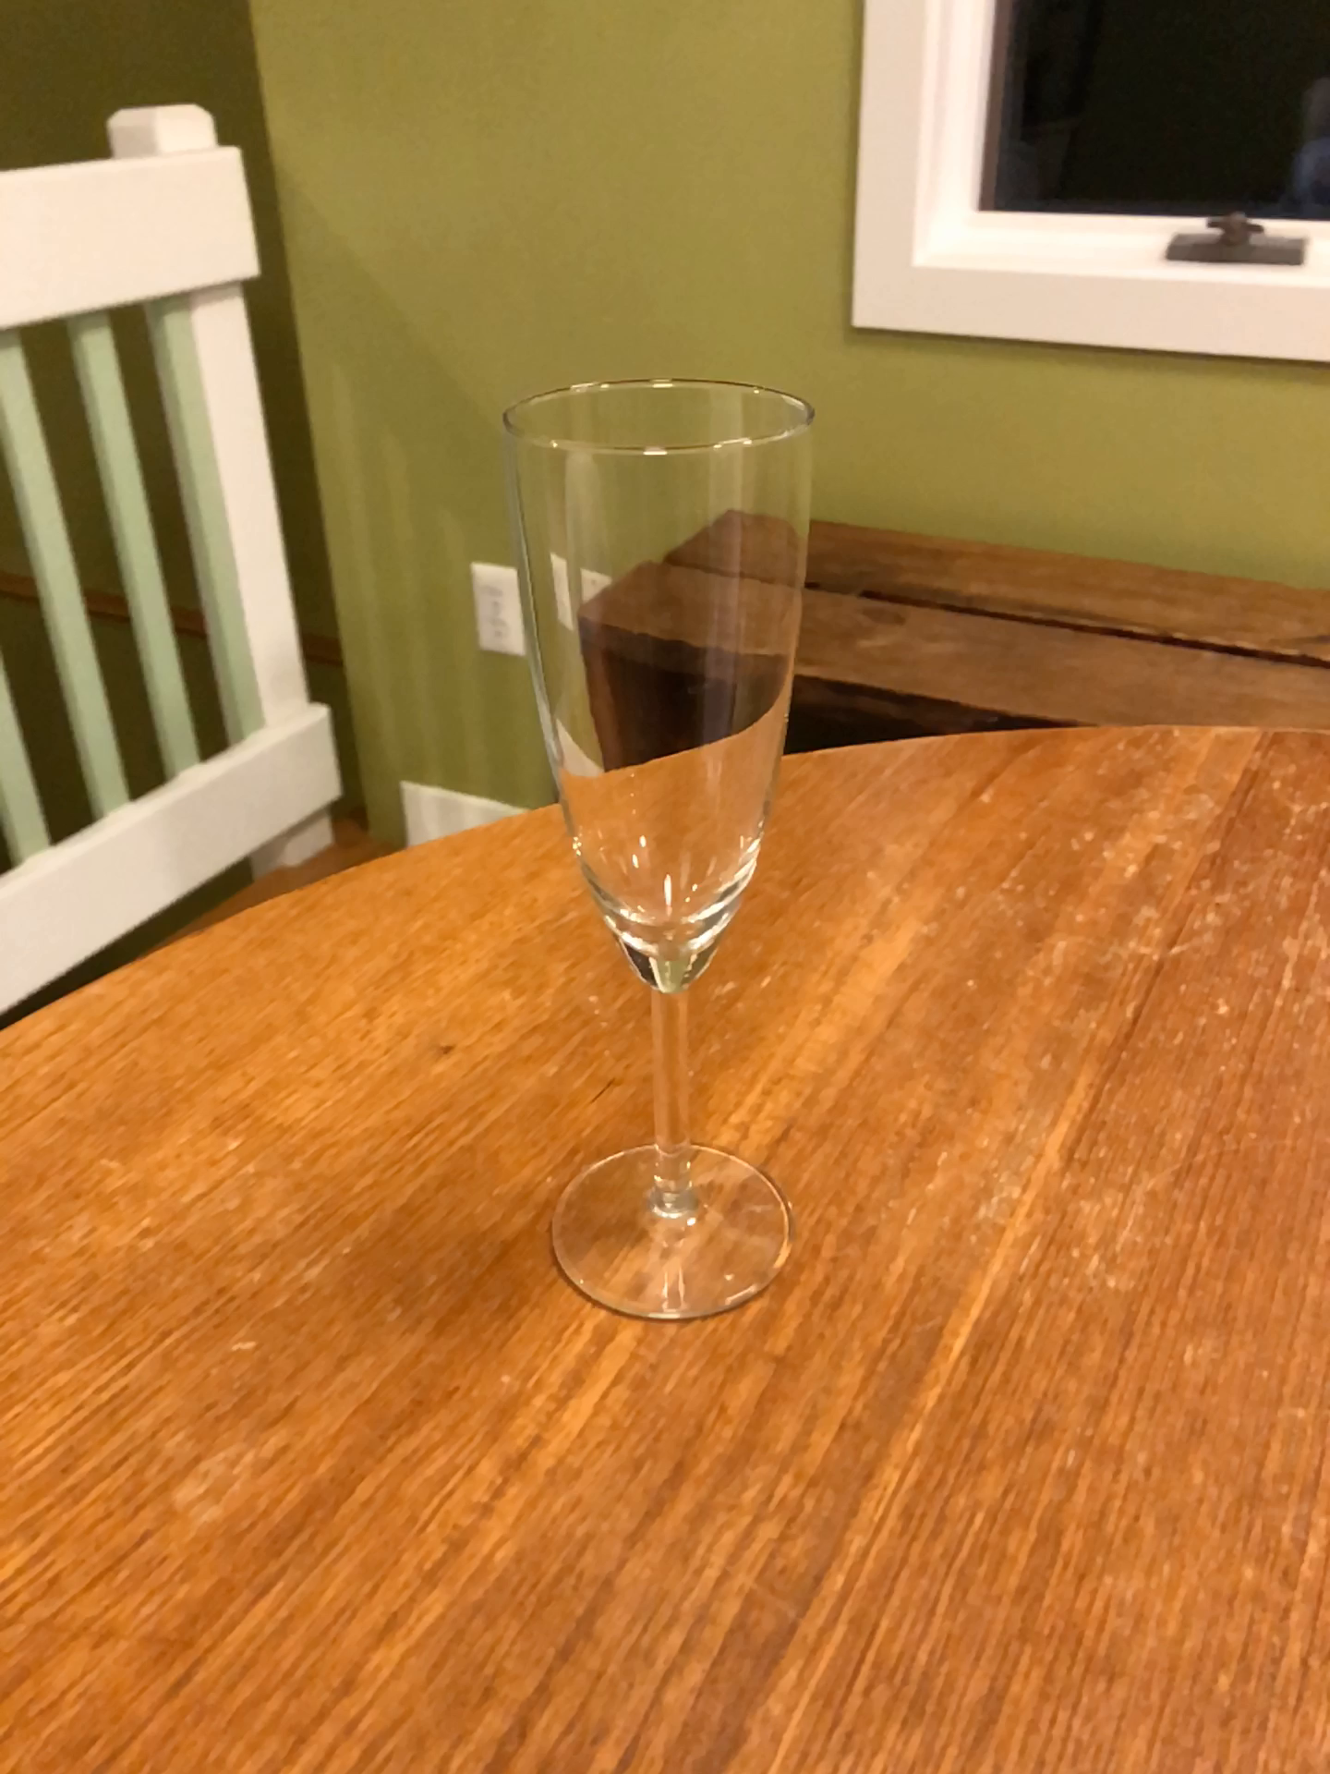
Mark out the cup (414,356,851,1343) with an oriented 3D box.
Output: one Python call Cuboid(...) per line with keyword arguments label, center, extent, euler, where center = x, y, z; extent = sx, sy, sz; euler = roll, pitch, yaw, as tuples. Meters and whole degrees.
Cuboid(label="cup", center=(-0.001, -0.004, 0.345), extent=(0.066, 0.215, 0.074), euler=(8, 31, 16))
